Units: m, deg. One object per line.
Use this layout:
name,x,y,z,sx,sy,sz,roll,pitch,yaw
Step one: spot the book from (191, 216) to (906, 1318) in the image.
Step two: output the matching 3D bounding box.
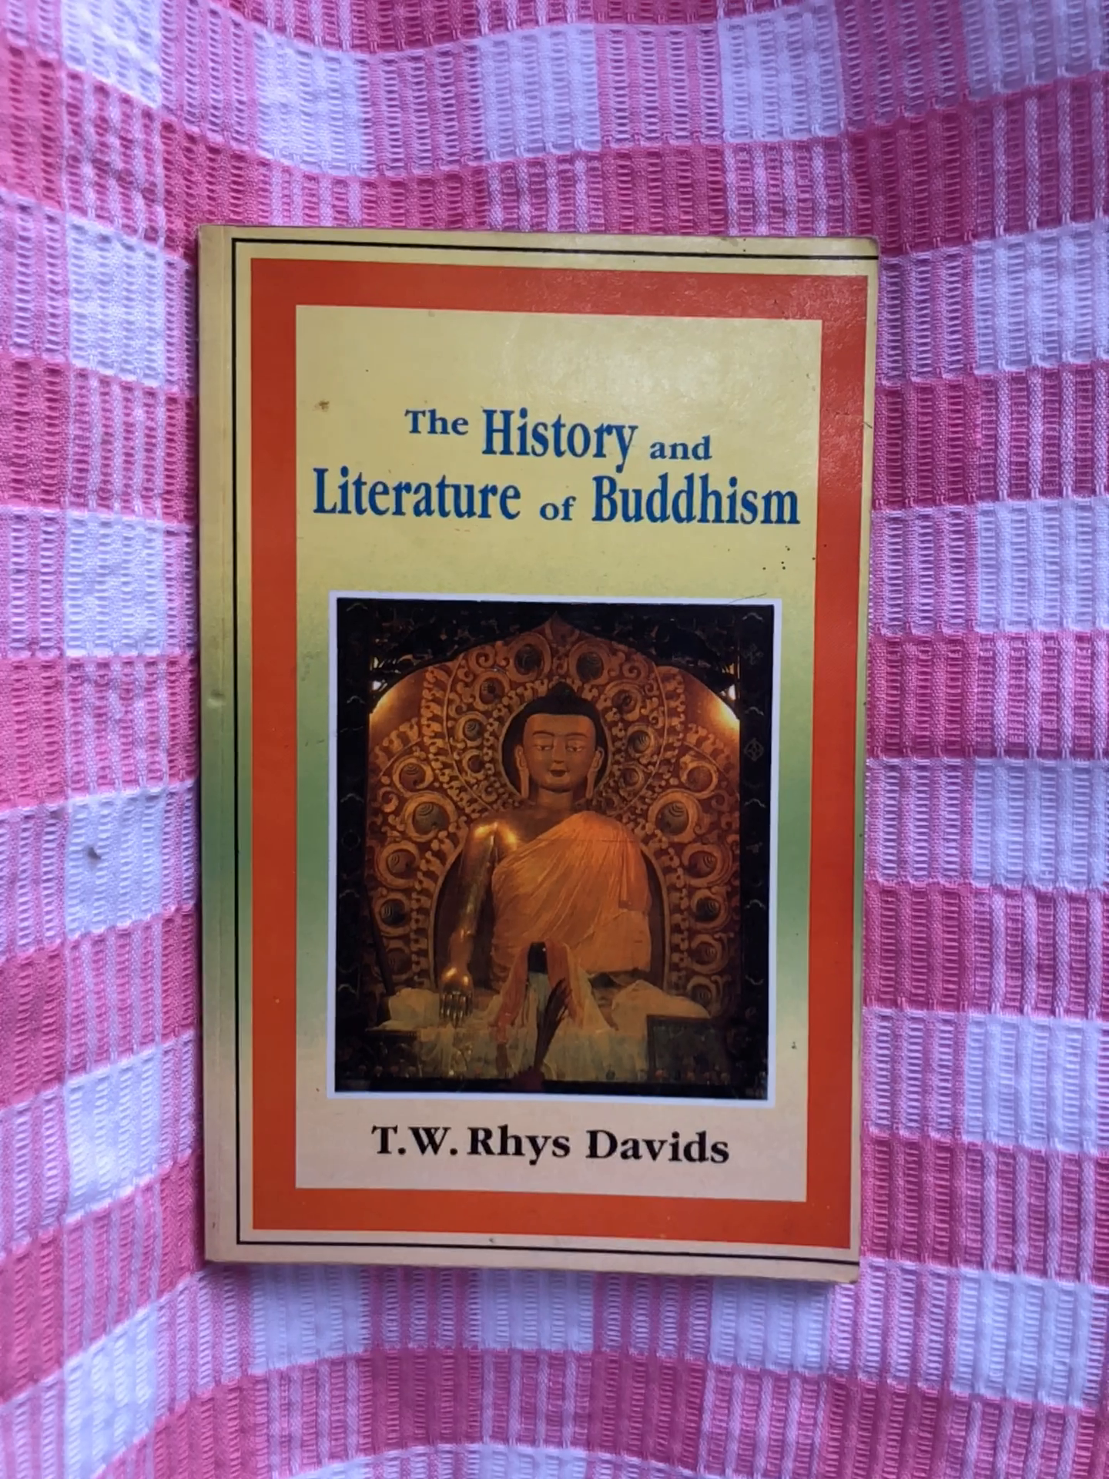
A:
book,-0.003,0.006,0.260,0.020,0.140,0.220,-47,138,-85
